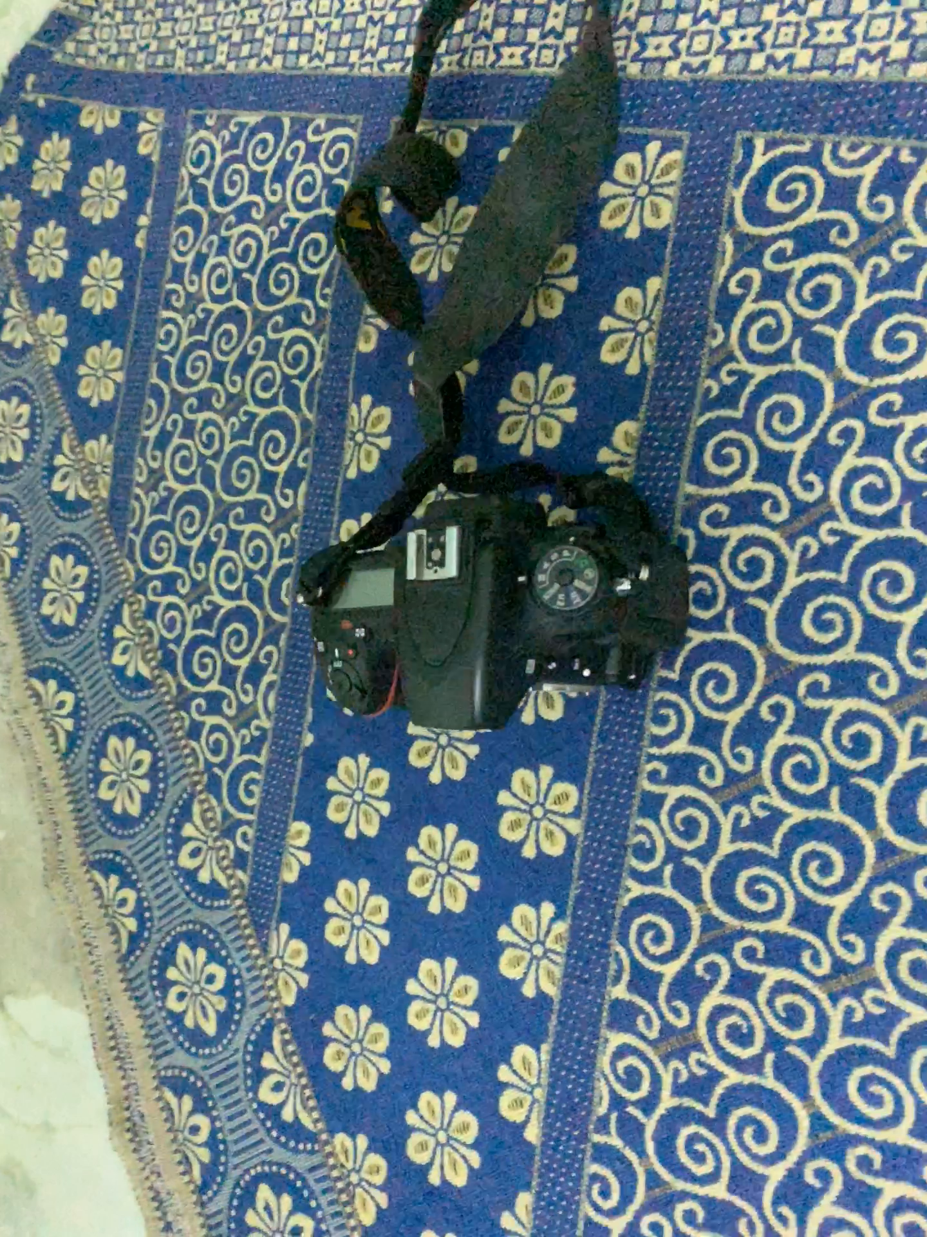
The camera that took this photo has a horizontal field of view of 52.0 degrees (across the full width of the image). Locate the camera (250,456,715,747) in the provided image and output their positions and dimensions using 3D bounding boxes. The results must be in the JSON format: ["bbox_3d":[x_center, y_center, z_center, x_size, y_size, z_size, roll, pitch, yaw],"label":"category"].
[{"bbox_3d":[0.006,0.003,0.362,0.151,0.089,0.088,-5,84,32],"label":"camera"}]
